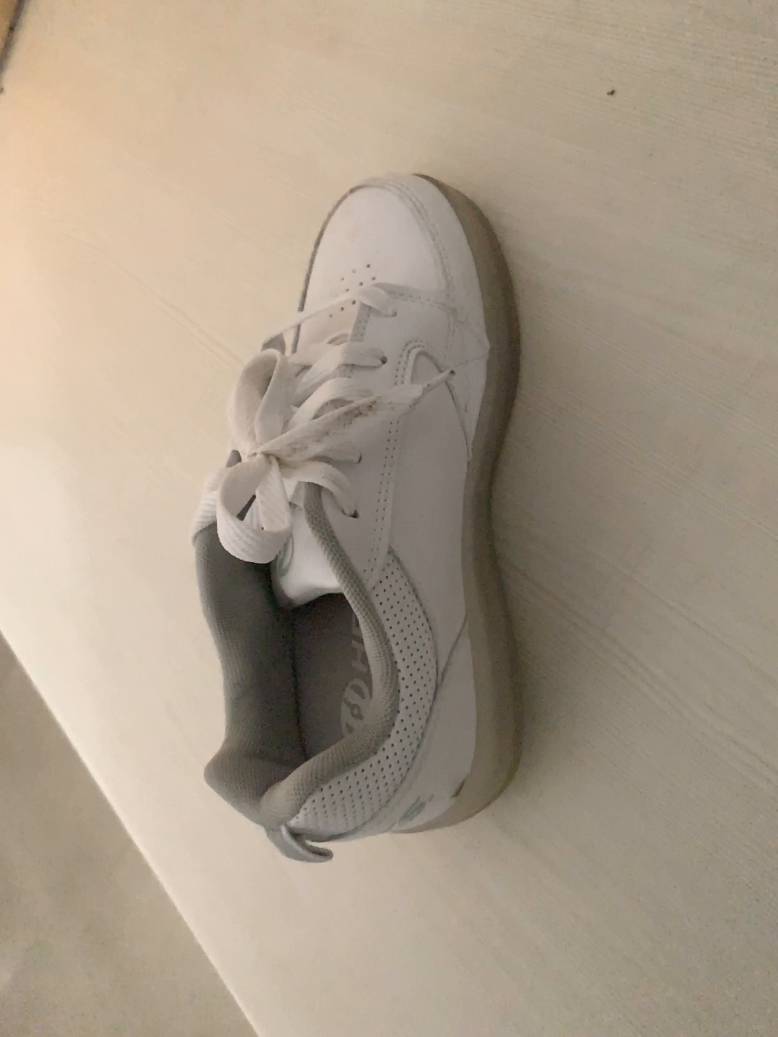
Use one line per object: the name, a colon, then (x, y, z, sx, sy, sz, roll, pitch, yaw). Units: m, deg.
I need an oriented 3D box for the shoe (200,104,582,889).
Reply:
shoe: (0.000, -0.004, 0.292, 0.090, 0.090, 0.230, -10, 75, 37)
